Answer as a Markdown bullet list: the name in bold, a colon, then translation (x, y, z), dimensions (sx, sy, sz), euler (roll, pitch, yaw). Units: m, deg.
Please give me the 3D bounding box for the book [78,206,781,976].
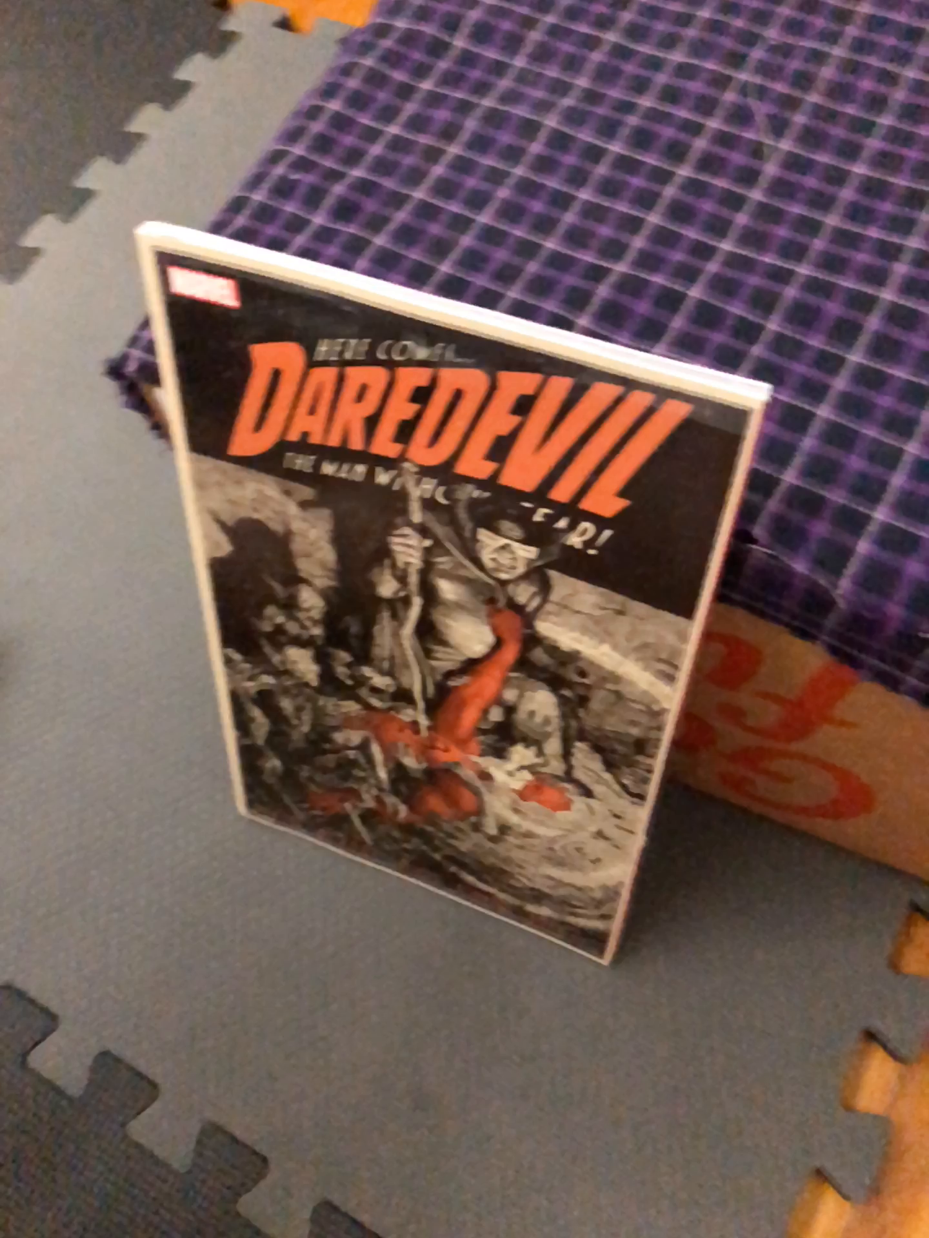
- **book**: translation (-0.017, 0.011, 0.305), dimensions (0.160, 0.229, 0.020), euler (18, 46, 15)
